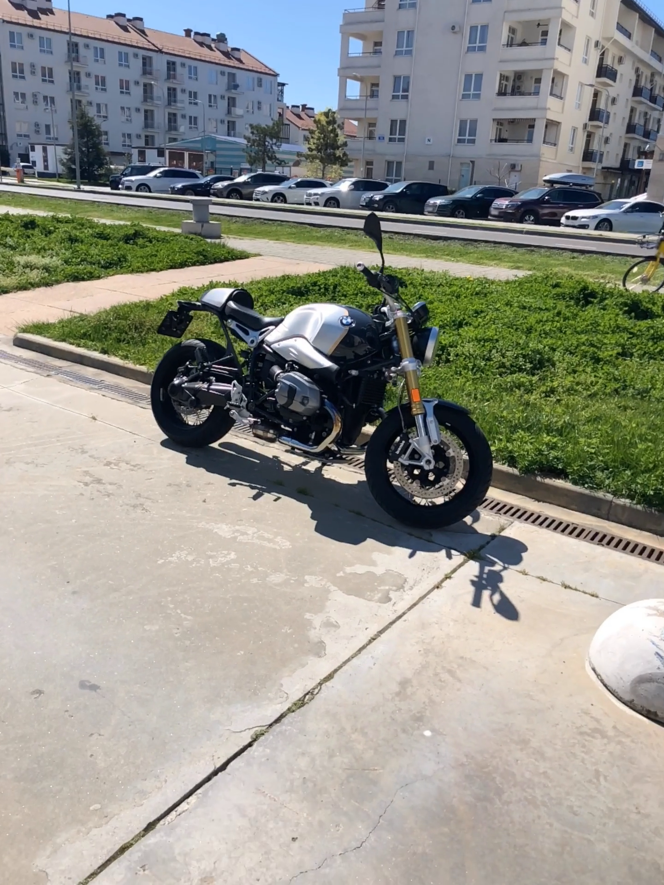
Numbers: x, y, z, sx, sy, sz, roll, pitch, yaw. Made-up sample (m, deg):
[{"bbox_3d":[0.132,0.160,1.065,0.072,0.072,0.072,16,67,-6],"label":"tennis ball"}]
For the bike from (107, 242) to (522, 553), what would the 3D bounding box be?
[{"bbox_3d":[-0.175,-0.356,3.784,2.070,1.123,0.649,14,21,27],"label":"bike"}]
